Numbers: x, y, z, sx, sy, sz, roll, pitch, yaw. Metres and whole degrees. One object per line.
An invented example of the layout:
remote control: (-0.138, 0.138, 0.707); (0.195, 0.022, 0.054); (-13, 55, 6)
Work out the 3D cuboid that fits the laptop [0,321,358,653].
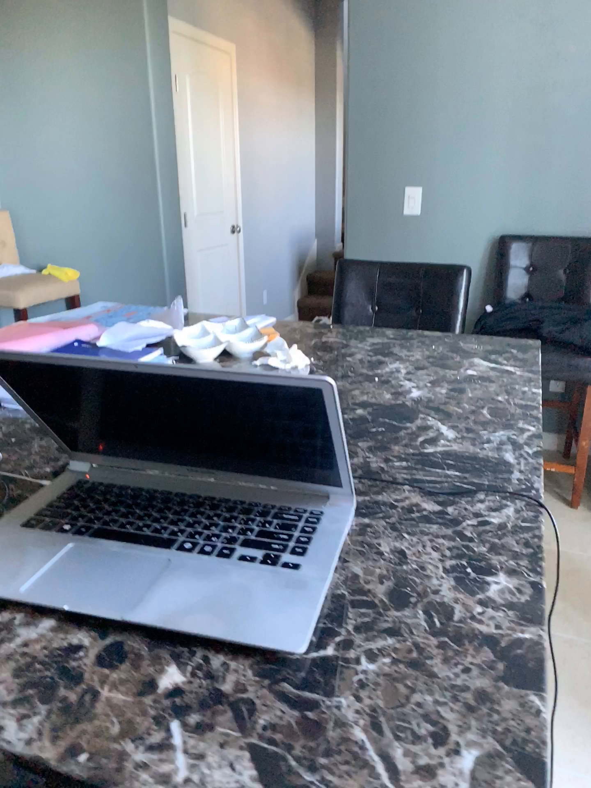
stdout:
laptop: (-0.140, 0.056, 0.584); (0.361, 0.188, 0.235); (5, 20, 15)
